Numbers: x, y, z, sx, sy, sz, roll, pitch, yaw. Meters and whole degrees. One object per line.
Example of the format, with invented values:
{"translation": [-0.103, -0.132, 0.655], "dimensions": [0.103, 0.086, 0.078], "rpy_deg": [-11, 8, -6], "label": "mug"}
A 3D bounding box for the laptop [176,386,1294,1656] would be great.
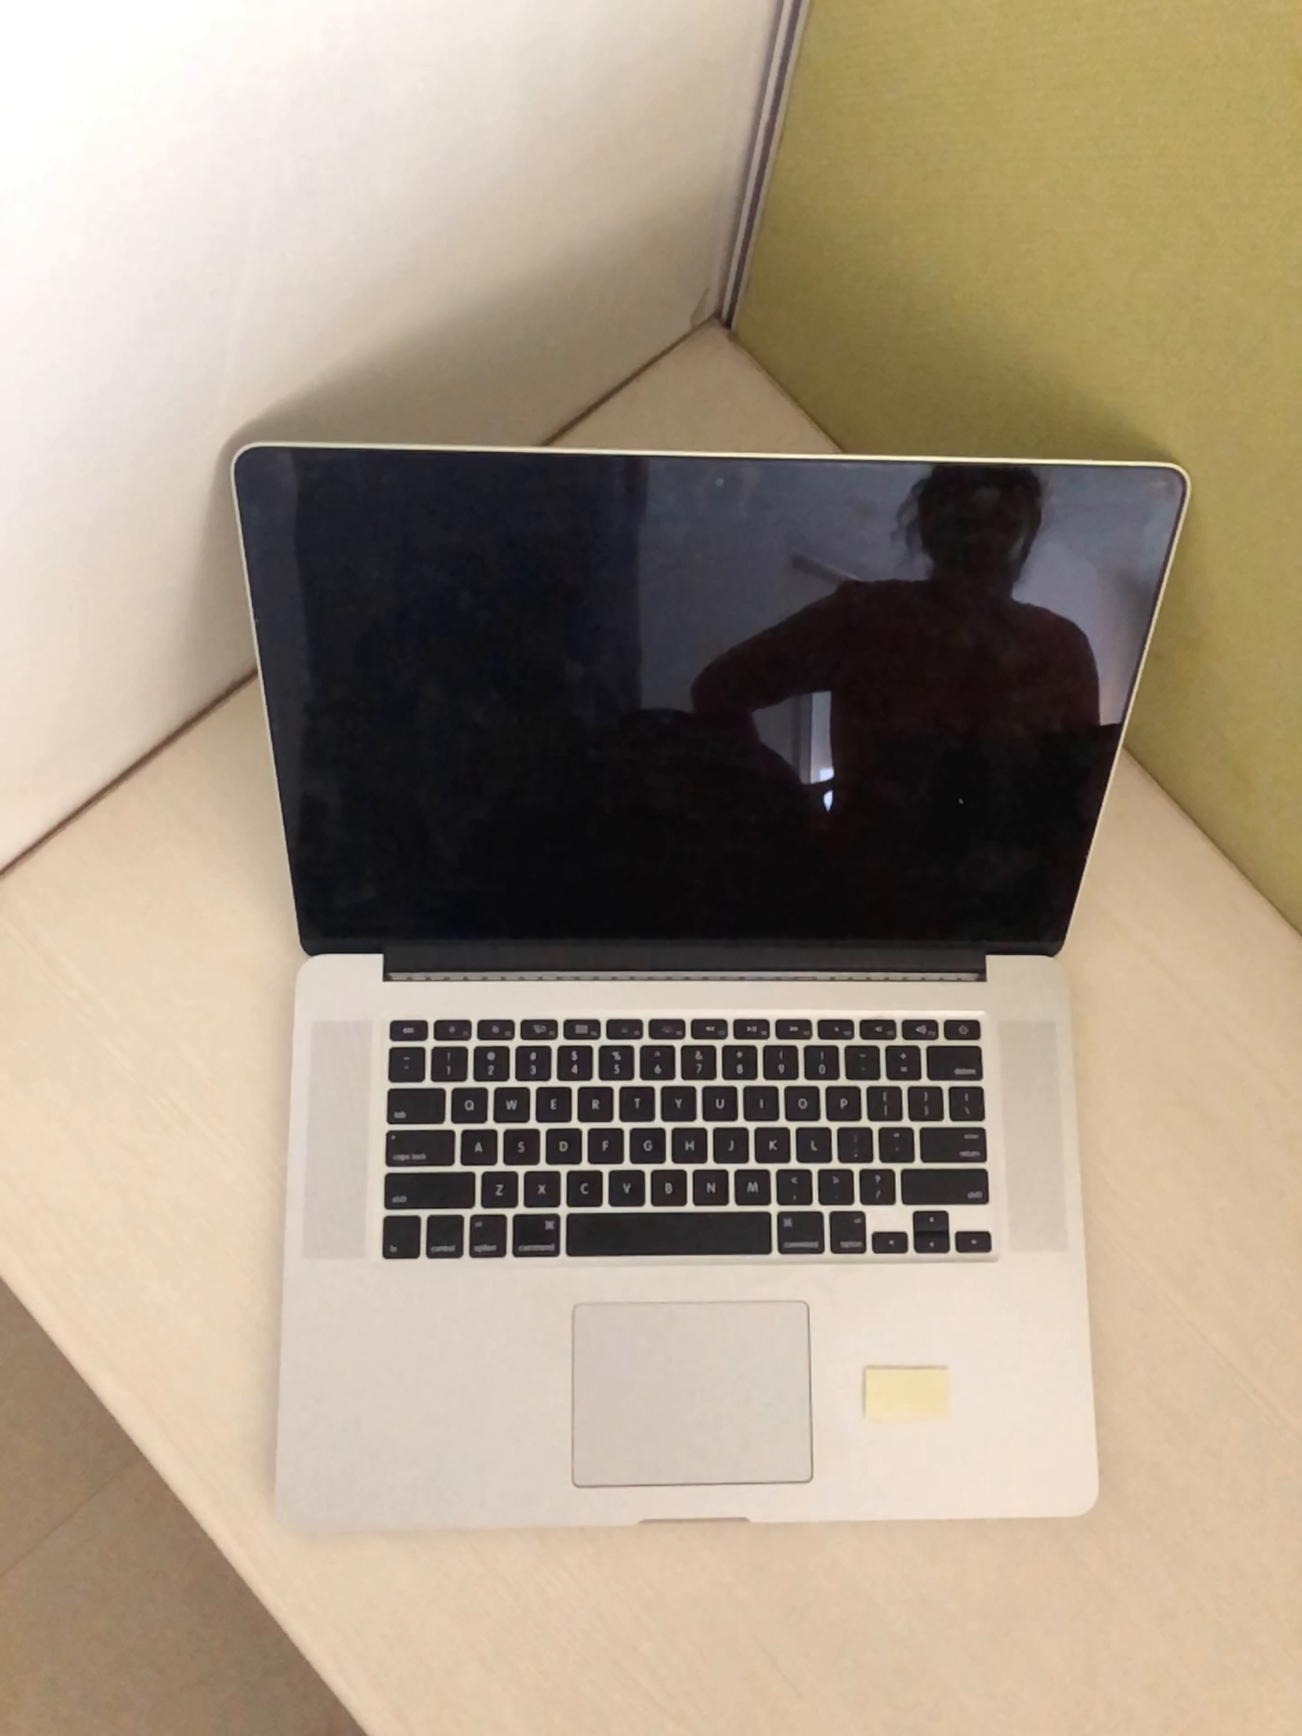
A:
{"translation": [0.021, 0.052, 0.549], "dimensions": [0.345, 0.164, 0.403], "rpy_deg": [0, 81, -4], "label": "laptop"}
